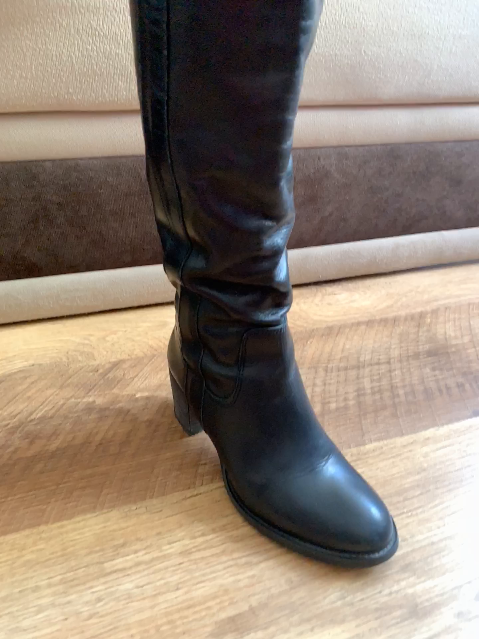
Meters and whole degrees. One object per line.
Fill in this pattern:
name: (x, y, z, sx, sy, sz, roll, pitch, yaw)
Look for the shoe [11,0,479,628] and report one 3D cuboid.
shoe: (0.026, -0.092, 0.252, 0.100, 0.497, 0.211, -25, 40, -37)
